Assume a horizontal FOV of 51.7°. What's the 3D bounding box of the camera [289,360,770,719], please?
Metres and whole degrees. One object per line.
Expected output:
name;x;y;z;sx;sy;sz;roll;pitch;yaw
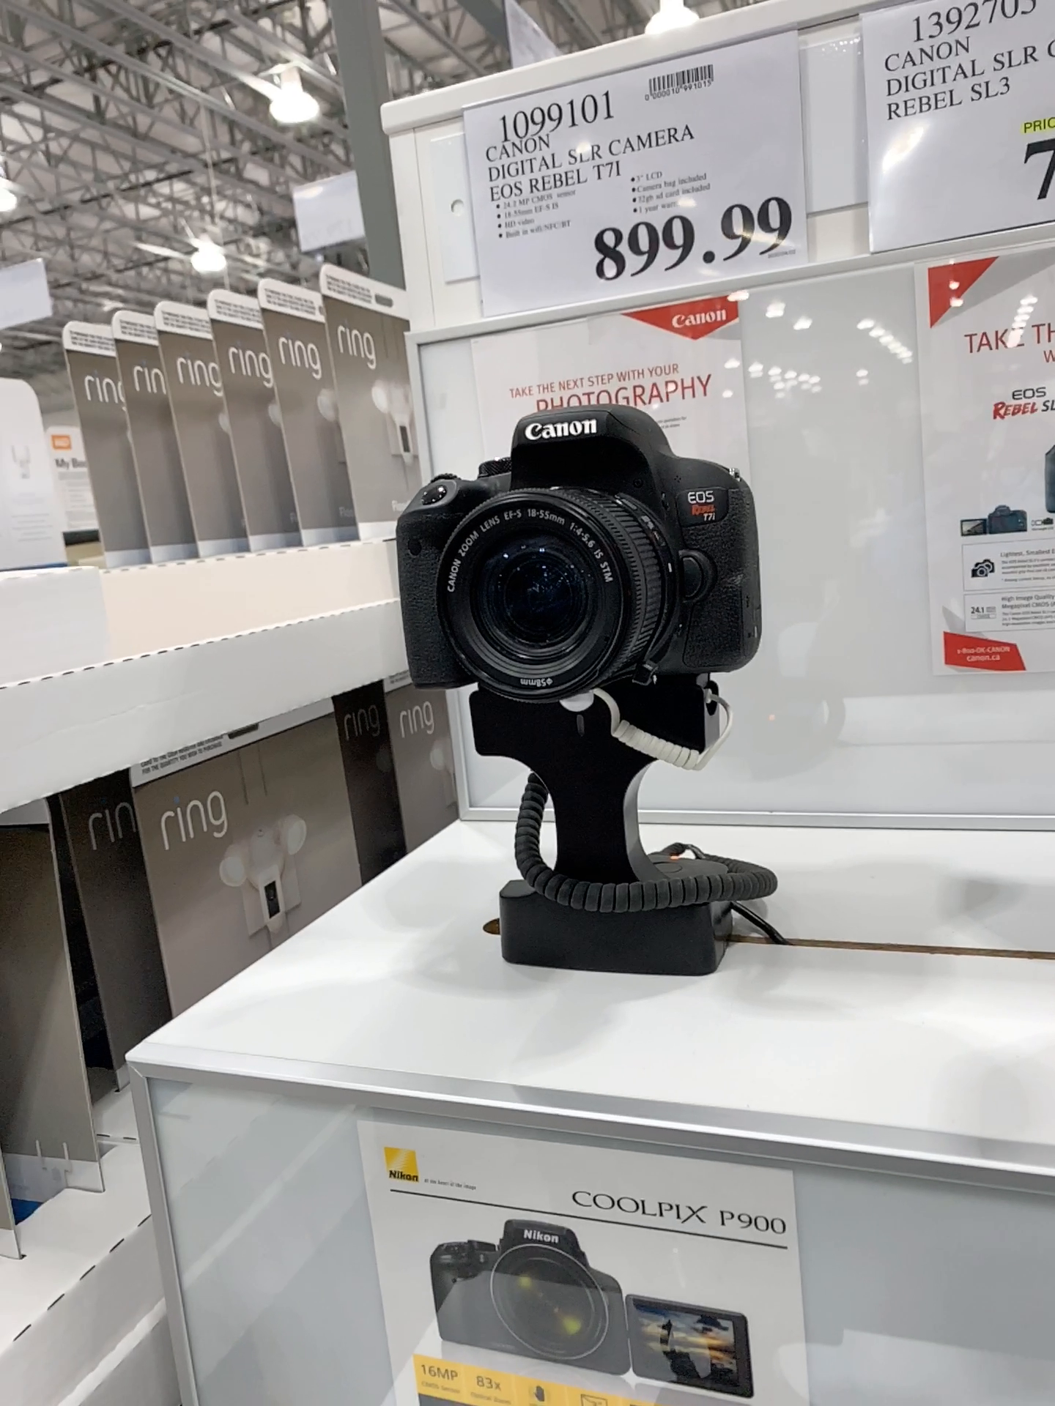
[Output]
camera;0.011;-0.058;0.394;0.132;0.096;0.130;-3;9;19
